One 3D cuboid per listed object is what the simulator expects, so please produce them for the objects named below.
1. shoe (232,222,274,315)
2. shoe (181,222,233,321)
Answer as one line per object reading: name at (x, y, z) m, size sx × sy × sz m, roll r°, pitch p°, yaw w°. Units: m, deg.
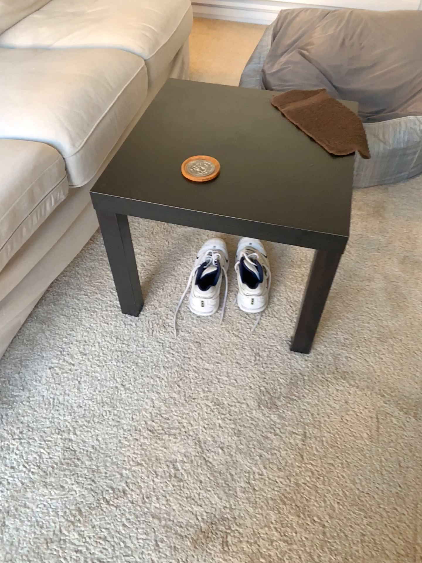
shoe at (0.124, -0.045, 1.332) m, size 0.110 × 0.100 × 0.291 m, roll 2°, pitch 50°, yaw 1°
shoe at (-0.007, -0.036, 1.288) m, size 0.110 × 0.100 × 0.291 m, roll 6°, pitch 50°, yaw 5°
